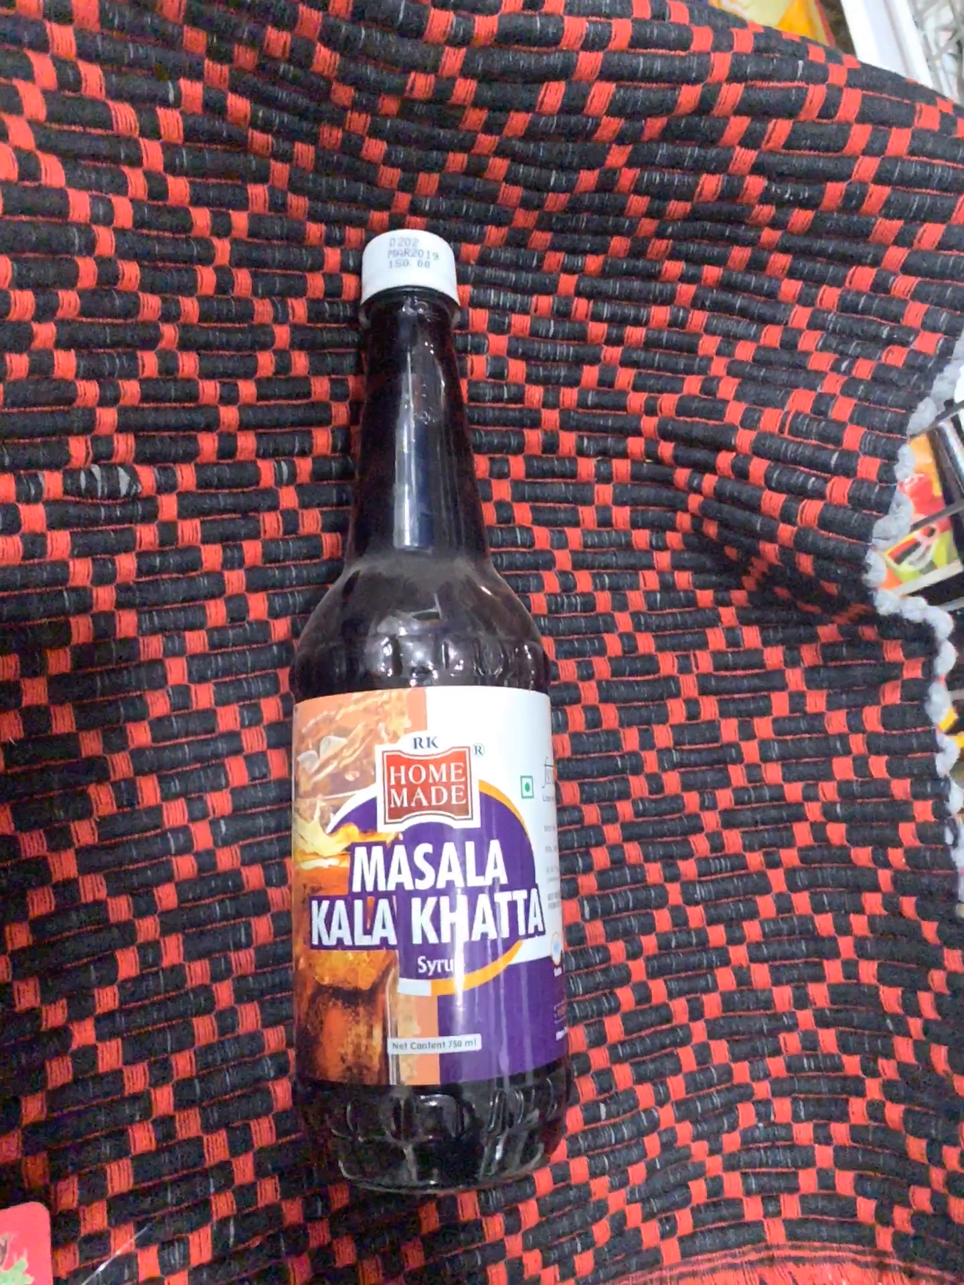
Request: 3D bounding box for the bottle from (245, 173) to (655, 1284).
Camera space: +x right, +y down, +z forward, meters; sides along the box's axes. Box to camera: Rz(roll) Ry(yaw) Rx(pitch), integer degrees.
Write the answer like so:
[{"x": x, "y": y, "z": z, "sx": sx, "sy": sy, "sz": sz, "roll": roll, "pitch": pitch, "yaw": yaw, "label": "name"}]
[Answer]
[{"x": -0.020, "y": 0.013, "z": 0.279, "sx": 0.080, "sy": 0.080, "sz": 0.260, "roll": -1, "pitch": 77, "yaw": -17, "label": "bottle"}]
